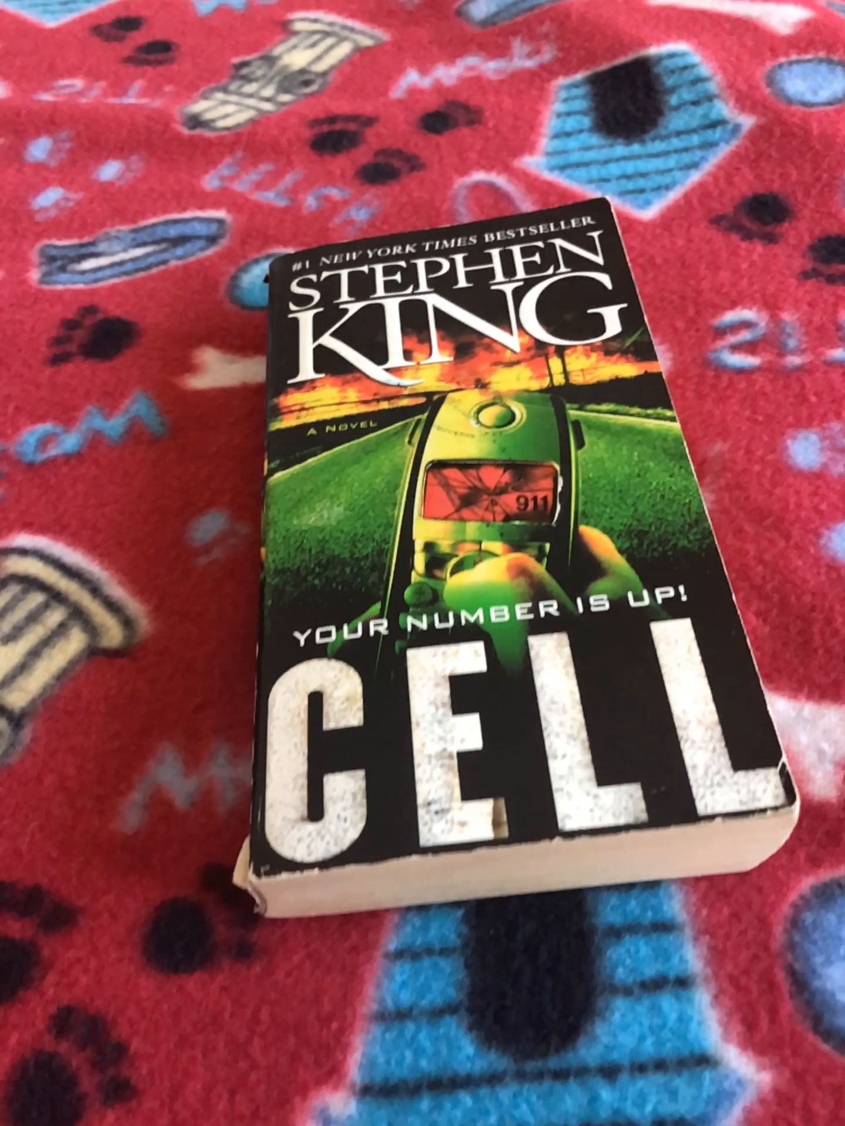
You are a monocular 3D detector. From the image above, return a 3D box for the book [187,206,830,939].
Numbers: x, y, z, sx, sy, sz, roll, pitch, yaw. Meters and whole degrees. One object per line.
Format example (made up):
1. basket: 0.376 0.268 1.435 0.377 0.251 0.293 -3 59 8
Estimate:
1. book: 0.009 -0.015 0.246 0.120 0.030 0.201 -5 54 0
